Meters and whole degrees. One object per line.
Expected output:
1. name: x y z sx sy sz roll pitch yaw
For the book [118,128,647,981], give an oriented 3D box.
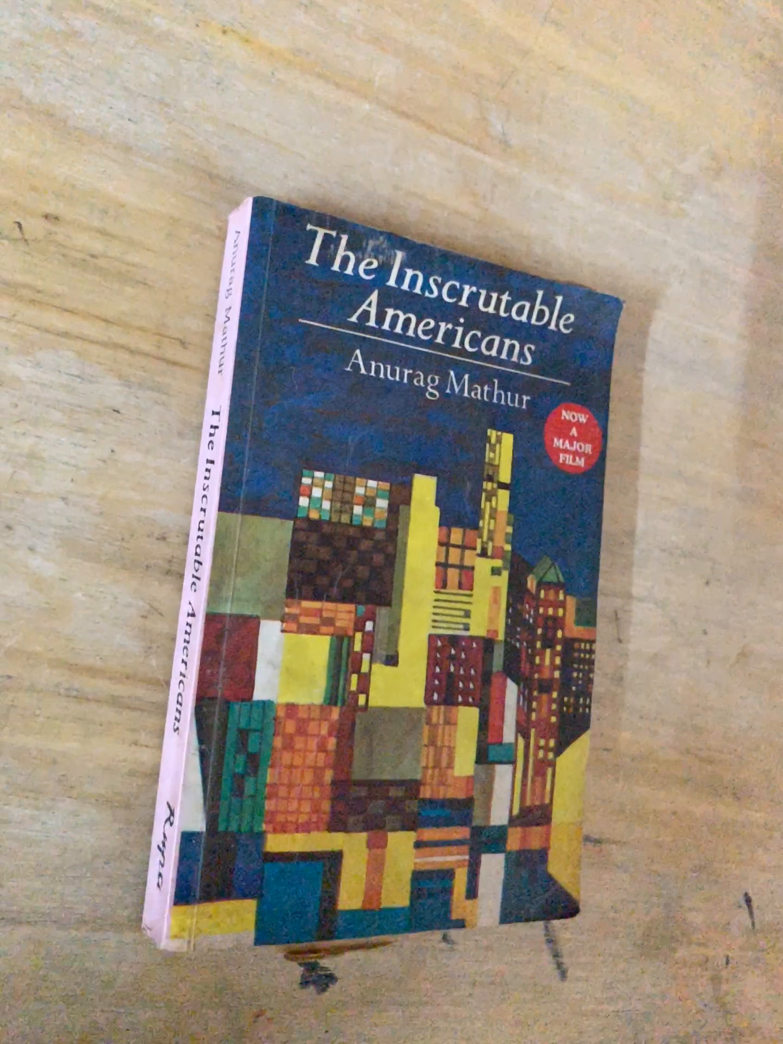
1. book: 0.005 0.010 0.211 0.120 0.030 0.180 8 82 -25
